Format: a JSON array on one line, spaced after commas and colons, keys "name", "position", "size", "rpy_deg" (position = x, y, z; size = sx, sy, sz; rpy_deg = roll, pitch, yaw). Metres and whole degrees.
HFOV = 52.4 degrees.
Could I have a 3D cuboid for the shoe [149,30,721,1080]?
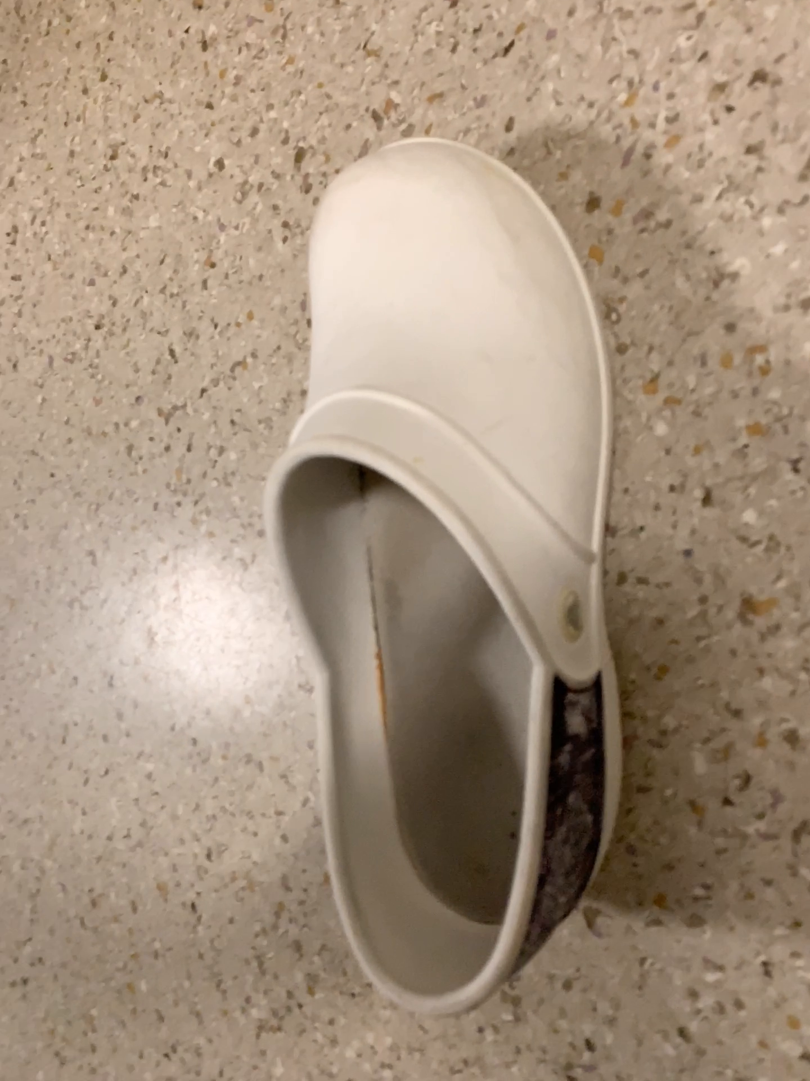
[{"name": "shoe", "position": [0.009, 0.012, 0.256], "size": [0.107, 0.101, 0.254], "rpy_deg": [-12, 83, 35]}]
